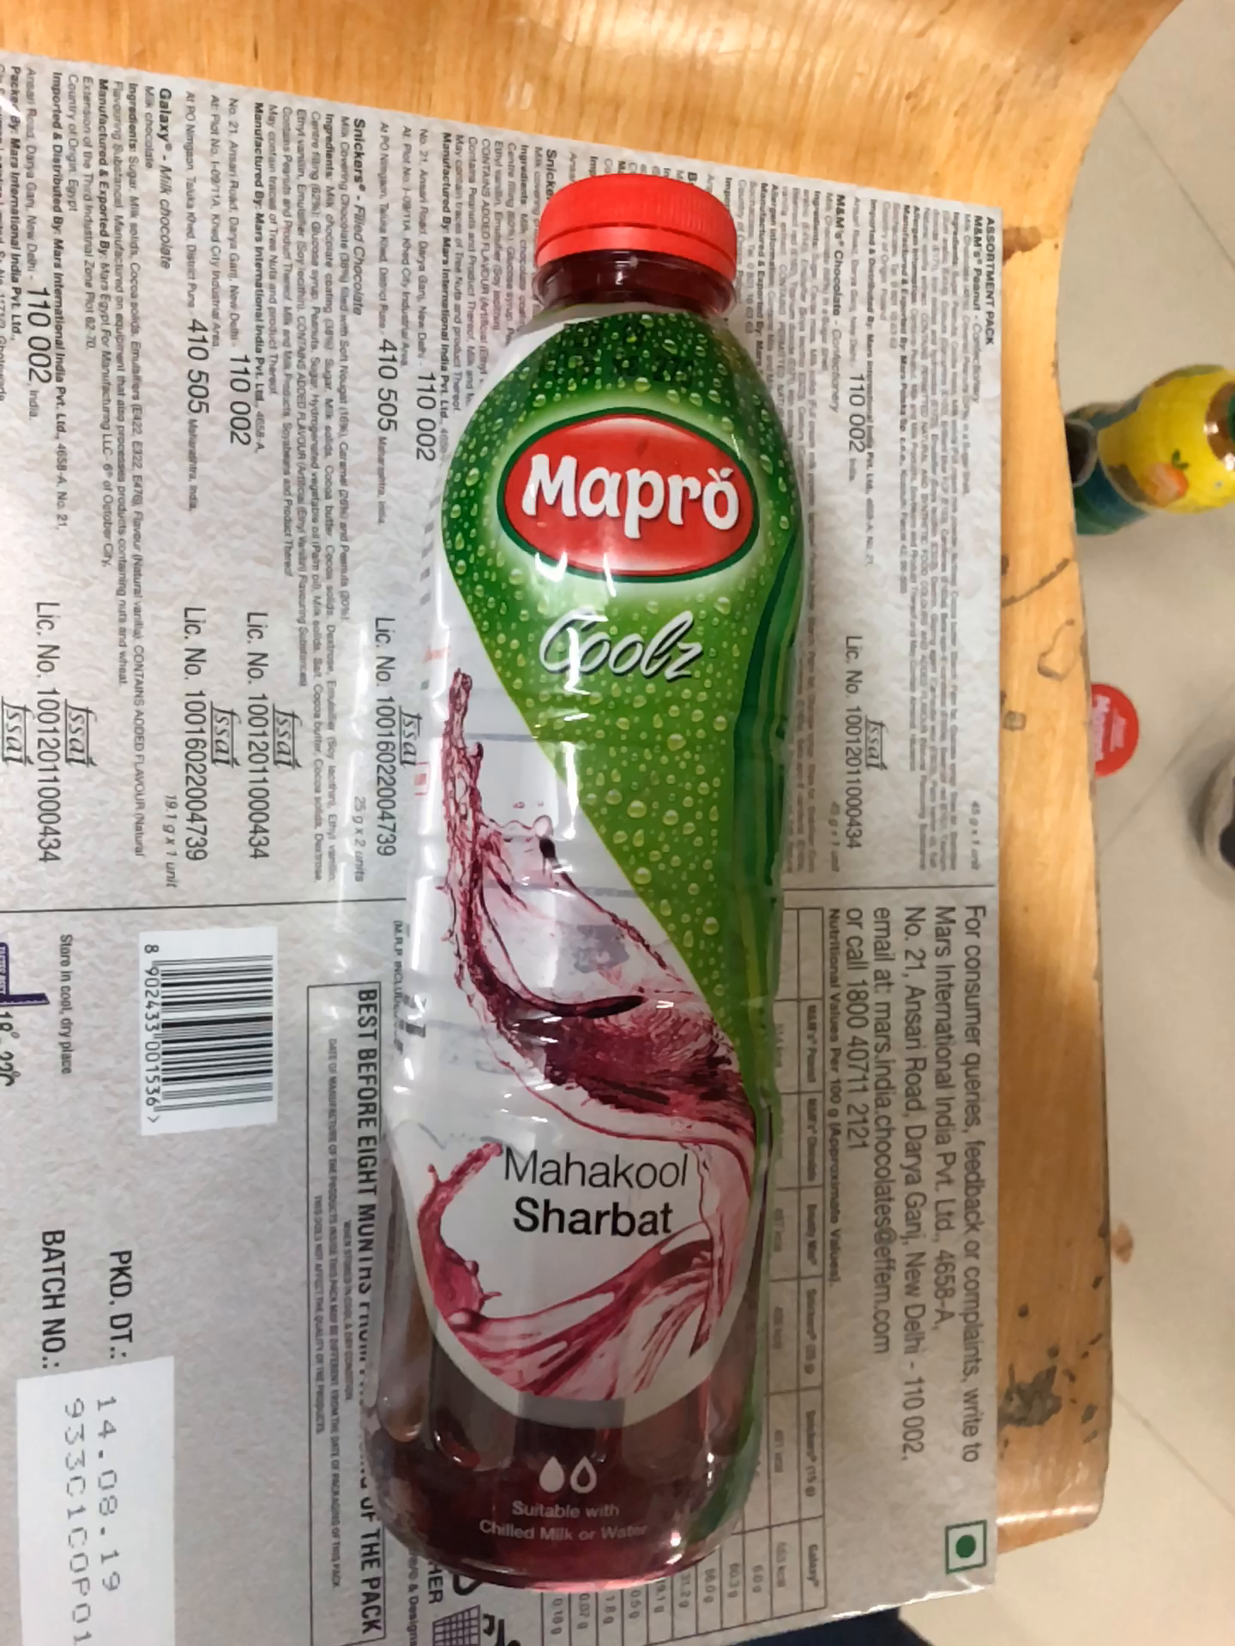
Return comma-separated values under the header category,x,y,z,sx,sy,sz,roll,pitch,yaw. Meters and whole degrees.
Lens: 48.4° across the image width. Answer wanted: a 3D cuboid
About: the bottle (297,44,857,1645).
category,x,y,z,sx,sy,sz,roll,pitch,yaw
bottle,-0.010,0.008,0.272,0.080,0.060,0.280,4,91,-6
